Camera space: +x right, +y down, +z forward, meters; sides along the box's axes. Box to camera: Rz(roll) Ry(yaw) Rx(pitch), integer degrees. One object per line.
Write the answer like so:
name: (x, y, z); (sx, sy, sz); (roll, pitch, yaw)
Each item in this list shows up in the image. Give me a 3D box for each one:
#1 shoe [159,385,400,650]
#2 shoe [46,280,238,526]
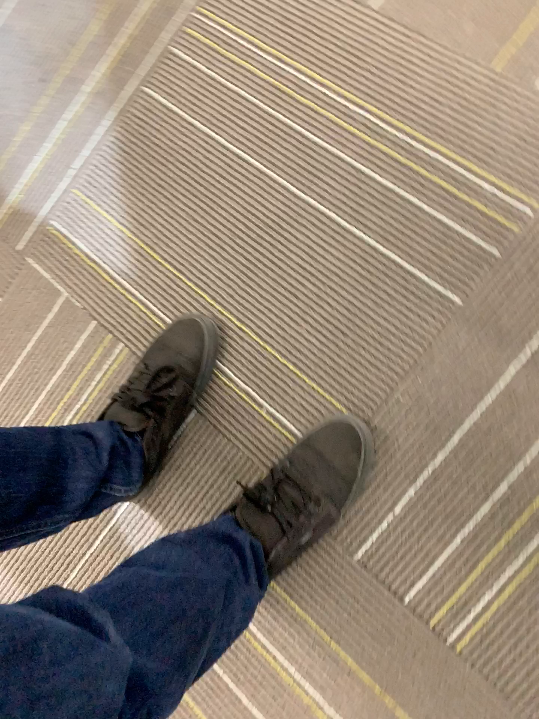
shoe: (0.016, 0.182, 0.668); (0.109, 0.113, 0.291); (40, 97, 19)
shoe: (-0.168, 0.058, 0.749); (0.109, 0.113, 0.291); (24, 92, 20)
